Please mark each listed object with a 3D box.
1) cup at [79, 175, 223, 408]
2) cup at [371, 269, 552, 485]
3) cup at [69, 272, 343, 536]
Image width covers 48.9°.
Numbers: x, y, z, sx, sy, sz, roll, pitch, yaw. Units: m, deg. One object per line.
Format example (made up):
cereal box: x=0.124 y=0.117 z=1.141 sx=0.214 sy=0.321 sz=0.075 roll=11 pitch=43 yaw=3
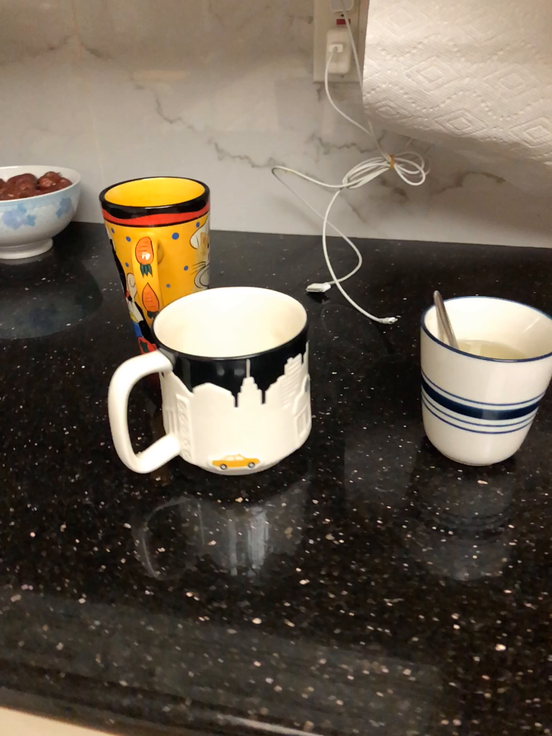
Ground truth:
cup: x=-0.102 y=-0.070 z=0.518 sx=0.090 sy=0.149 sz=0.131 roll=-6 pitch=32 yaw=-9
cup: x=0.136 y=0.003 z=0.437 sx=0.100 sy=0.109 sz=0.090 roll=-10 pitch=32 yaw=-14
cup: x=-0.046 y=0.016 z=0.428 sx=0.150 sy=0.109 sz=0.100 roll=-19 pitch=36 yaw=-27
